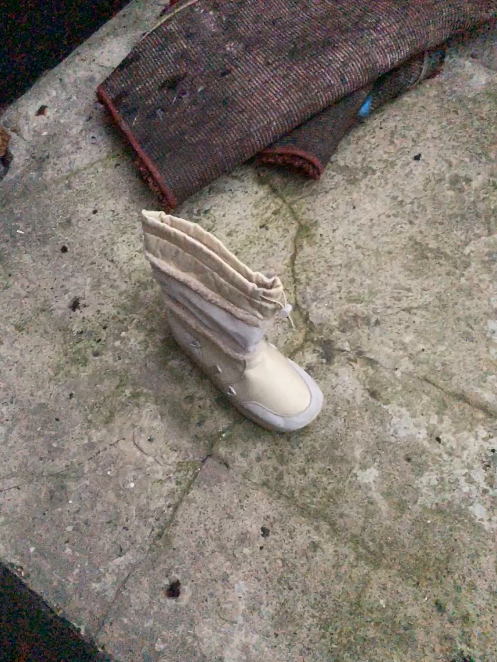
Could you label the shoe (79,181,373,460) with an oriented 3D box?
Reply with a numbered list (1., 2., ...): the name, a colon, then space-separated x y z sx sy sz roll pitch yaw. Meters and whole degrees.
1. shoe: -0.022 0.012 0.622 0.270 0.299 0.110 35 74 14
